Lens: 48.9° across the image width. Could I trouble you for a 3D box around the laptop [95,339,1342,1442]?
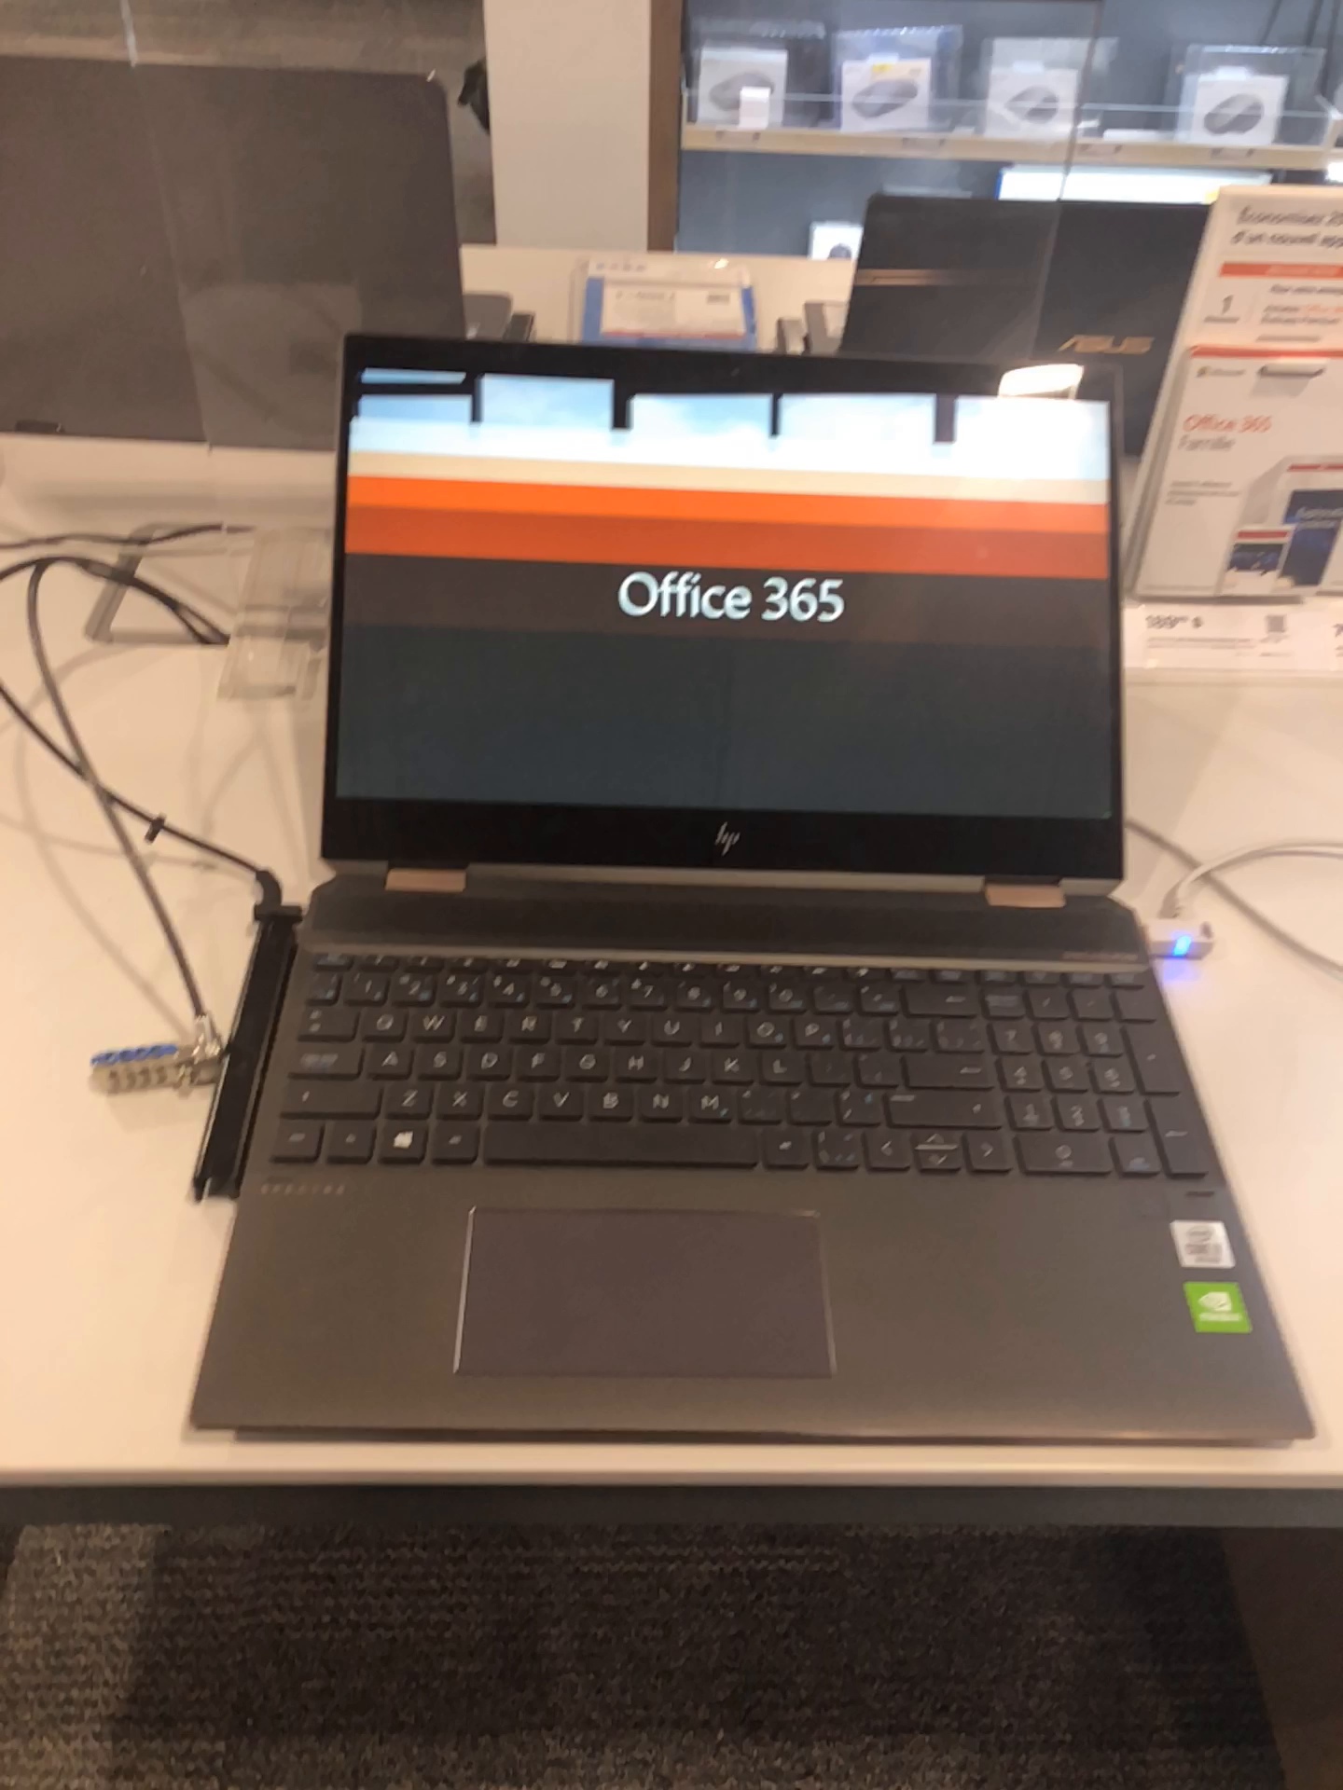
[{"bbox_3d":[0.026,-0.041,0.551,0.333,0.145,0.427,1,44,0],"label":"laptop"}]
